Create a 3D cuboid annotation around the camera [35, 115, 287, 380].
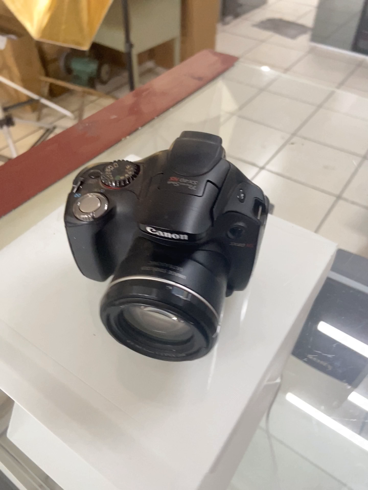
[{"bbox_3d":[-0.001,-0.006,0.258,0.120,0.089,0.141,8,47,7],"label":"camera"}]
